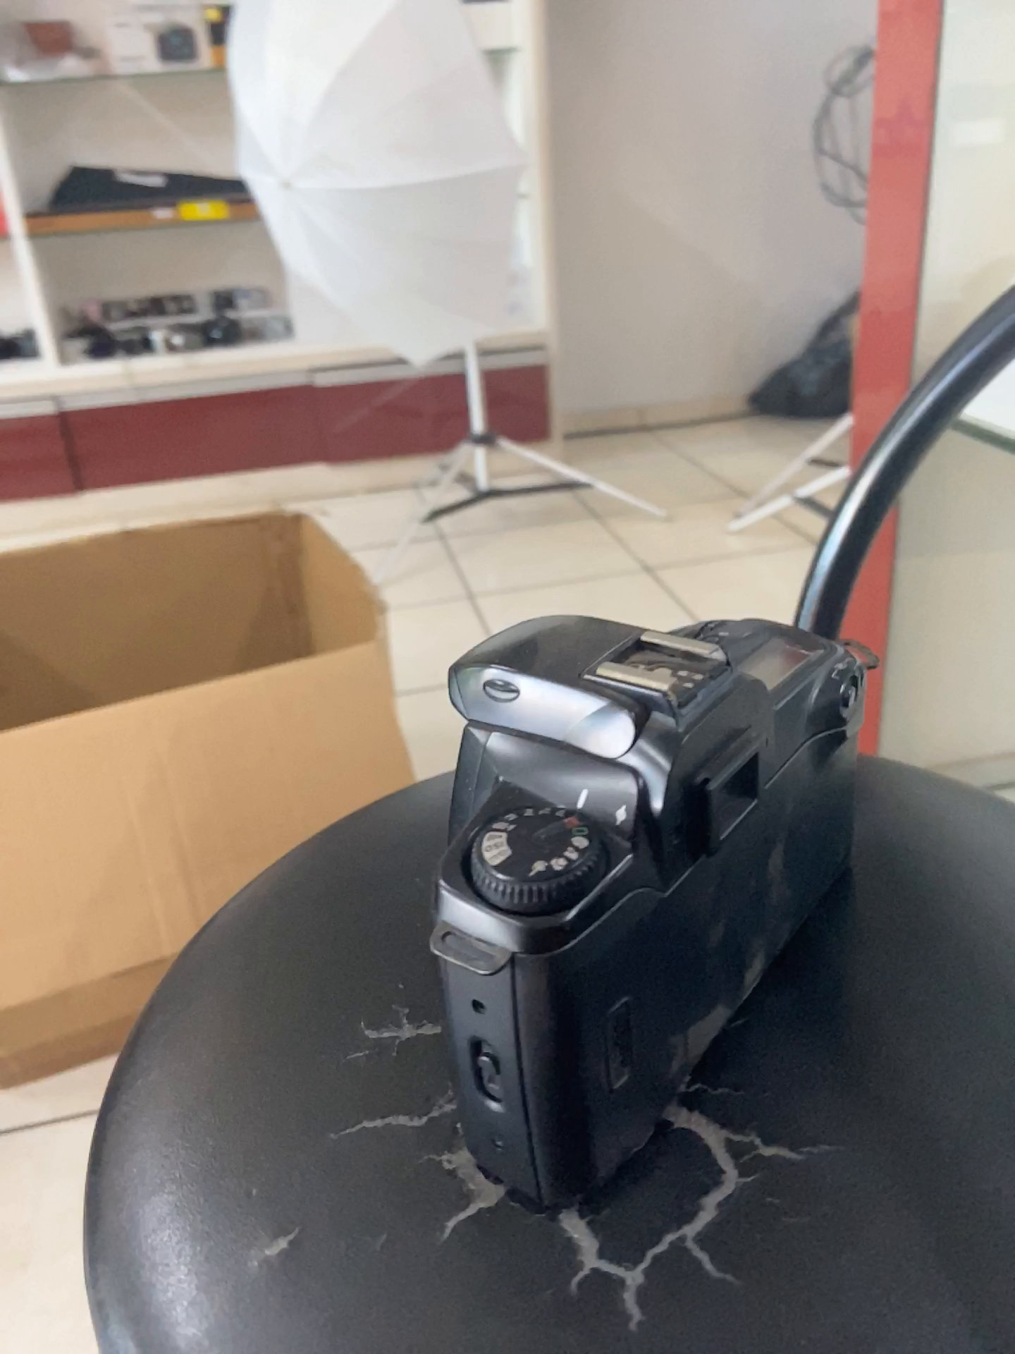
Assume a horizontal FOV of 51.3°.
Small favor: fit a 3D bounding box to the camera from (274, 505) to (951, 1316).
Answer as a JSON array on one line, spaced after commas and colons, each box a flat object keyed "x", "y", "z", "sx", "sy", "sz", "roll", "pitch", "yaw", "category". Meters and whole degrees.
[{"x": 0.034, "y": 0.031, "z": 0.226, "sx": 0.070, "sy": 0.089, "sz": 0.141, "roll": 14, "pitch": 32, "yaw": 33, "category": "camera"}]
